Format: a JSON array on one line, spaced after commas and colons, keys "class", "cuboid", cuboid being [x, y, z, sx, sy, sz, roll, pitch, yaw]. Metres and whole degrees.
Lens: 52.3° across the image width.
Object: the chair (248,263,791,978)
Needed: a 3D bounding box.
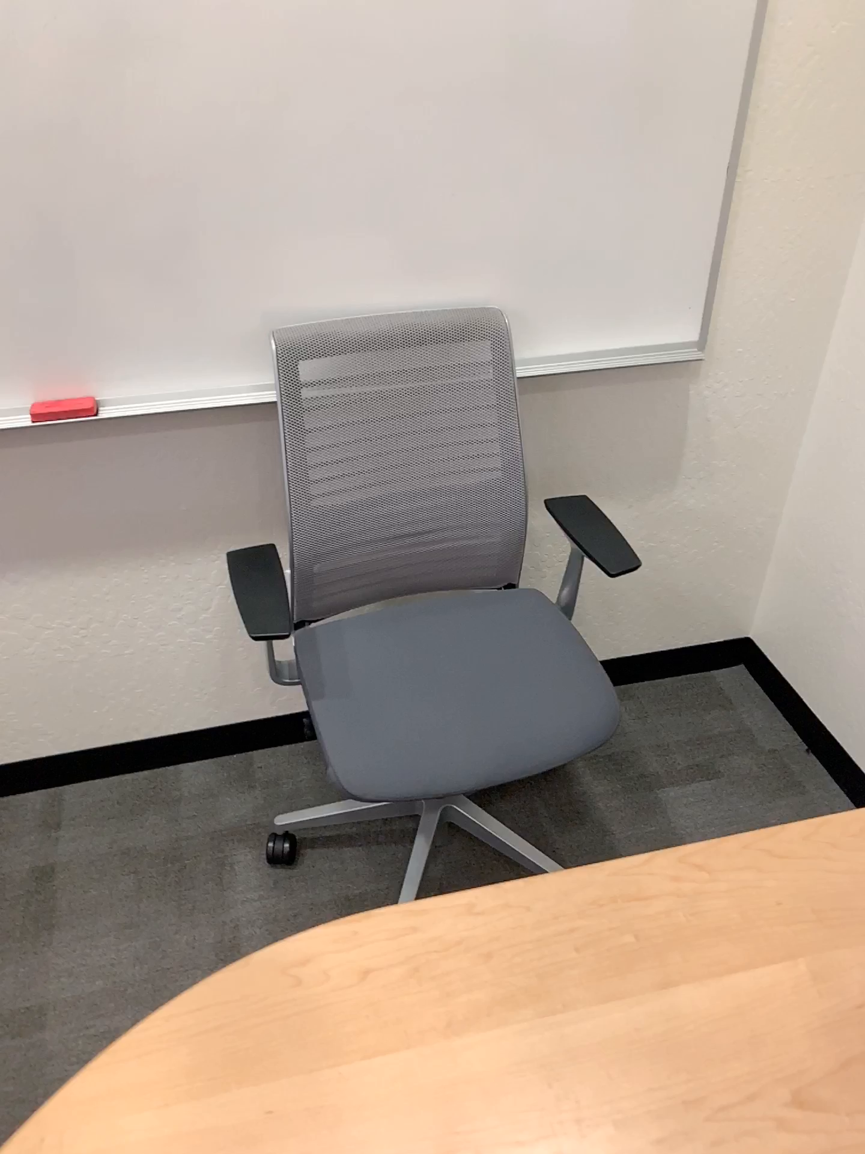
[{"class": "chair", "cuboid": [0.089, 0.076, 1.947, 0.760, 1.262, 0.755, -9, 34, -15]}]
